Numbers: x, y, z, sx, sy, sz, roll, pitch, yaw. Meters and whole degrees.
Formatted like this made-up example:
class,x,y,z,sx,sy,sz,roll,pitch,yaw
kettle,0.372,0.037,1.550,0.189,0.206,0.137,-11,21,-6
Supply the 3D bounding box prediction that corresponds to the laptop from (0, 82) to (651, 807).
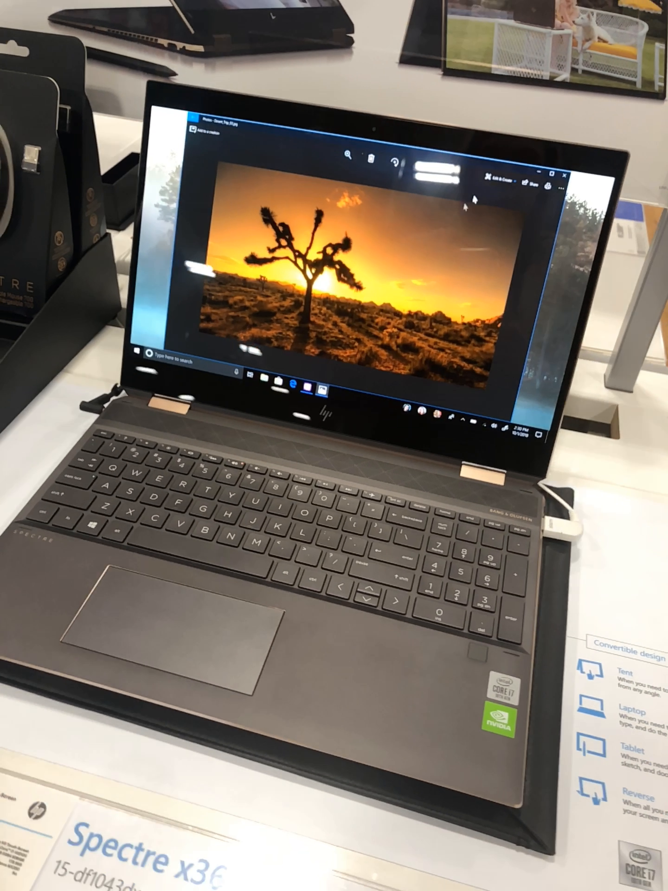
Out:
class,x,y,z,sx,sy,sz,roll,pitch,yaw
laptop,-0.022,-0.043,0.471,0.348,0.209,0.361,12,43,8
